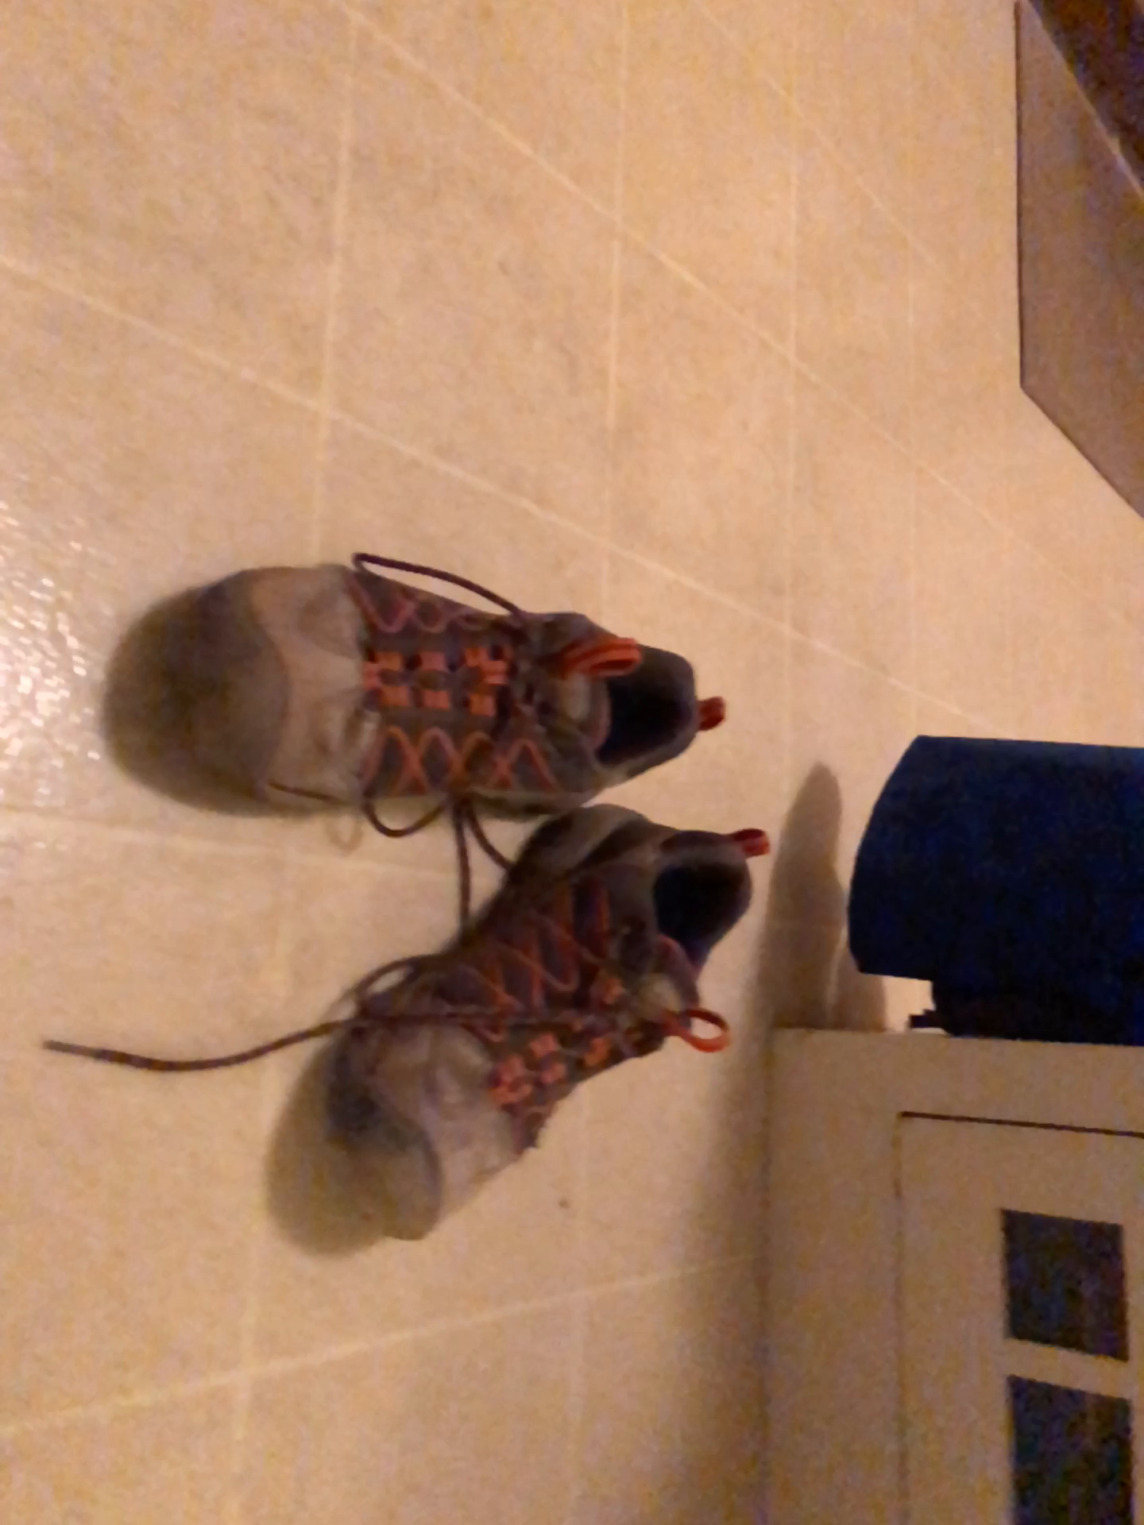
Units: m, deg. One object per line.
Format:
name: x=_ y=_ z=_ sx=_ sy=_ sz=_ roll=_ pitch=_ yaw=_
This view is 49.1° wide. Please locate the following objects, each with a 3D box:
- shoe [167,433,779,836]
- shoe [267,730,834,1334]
shoe: x=-0.030 y=-0.040 z=0.612 sx=0.293 sy=0.121 sz=0.127 roll=10 pitch=77 yaw=-49
shoe: x=0.007 y=0.118 z=0.642 sx=0.283 sy=0.121 sz=0.127 roll=-47 pitch=120 yaw=-42
